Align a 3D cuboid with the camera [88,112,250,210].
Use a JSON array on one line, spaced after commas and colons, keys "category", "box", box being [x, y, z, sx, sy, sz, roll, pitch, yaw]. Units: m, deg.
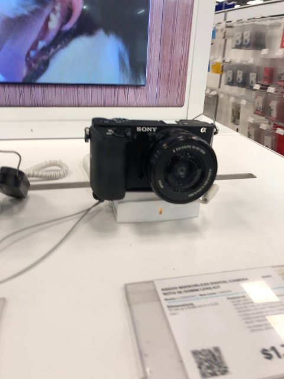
[{"category": "camera", "box": [0.019, -0.030, 0.289, 0.130, 0.070, 0.060, -3, 24, -12]}]
